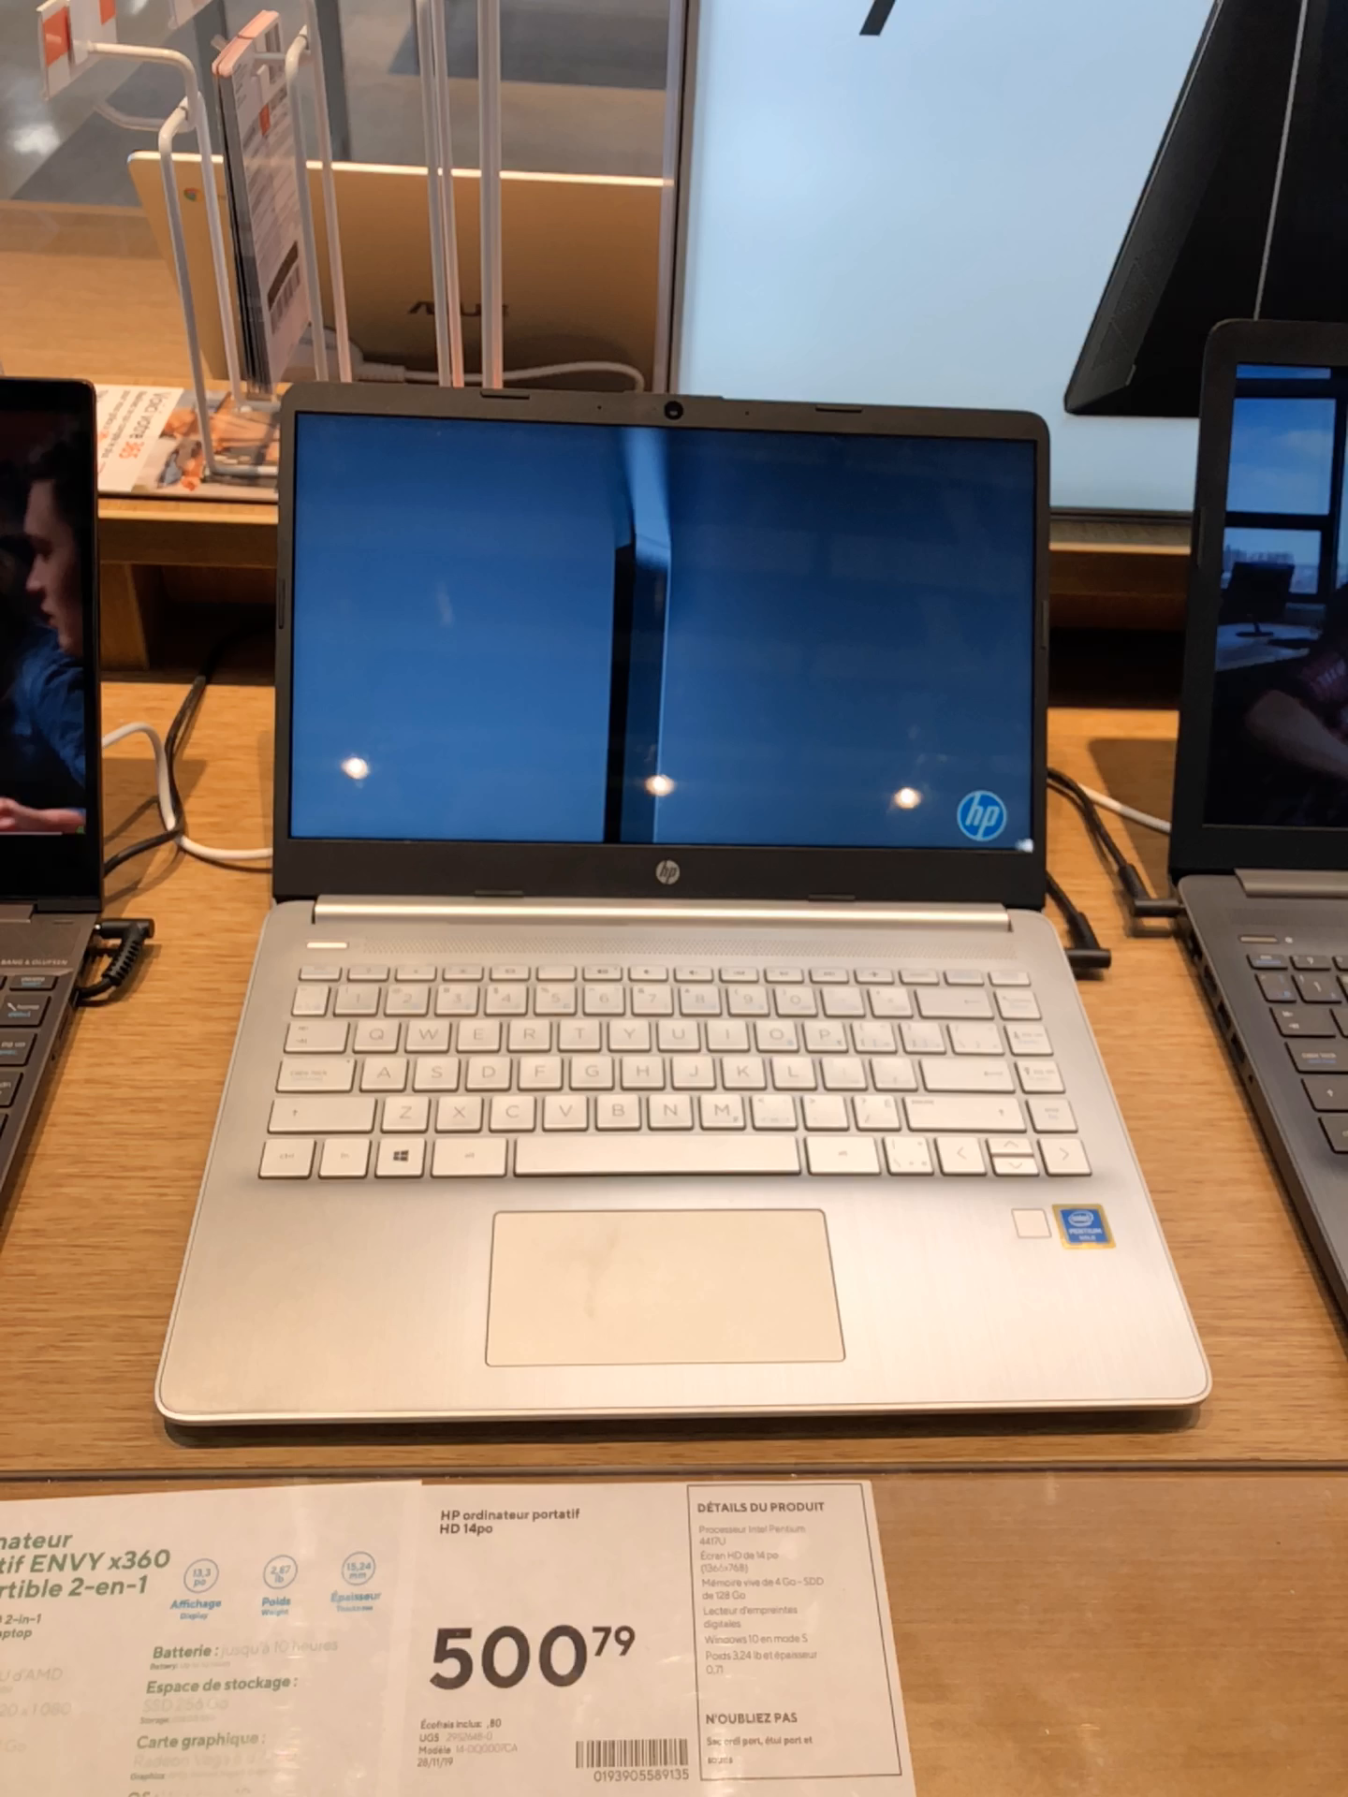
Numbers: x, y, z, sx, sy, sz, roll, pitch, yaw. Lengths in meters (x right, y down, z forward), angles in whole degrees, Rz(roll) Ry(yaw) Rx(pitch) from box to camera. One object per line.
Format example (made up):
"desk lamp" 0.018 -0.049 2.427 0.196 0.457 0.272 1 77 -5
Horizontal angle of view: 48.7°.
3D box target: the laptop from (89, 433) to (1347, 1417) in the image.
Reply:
"laptop" 0.009 -0.017 0.536 0.307 0.167 0.347 0 40 -2
